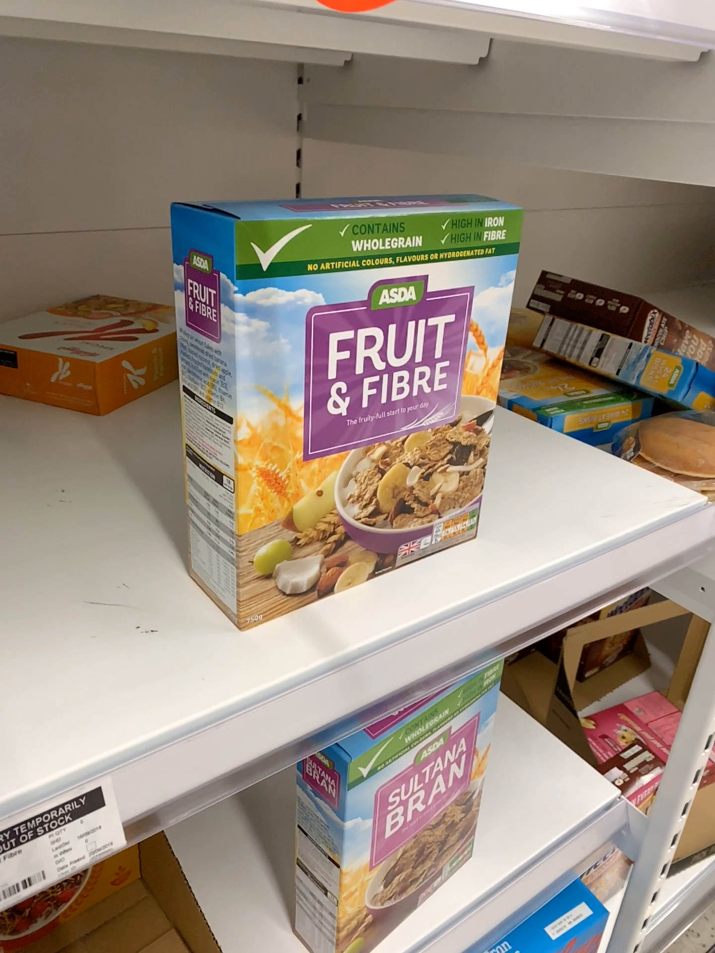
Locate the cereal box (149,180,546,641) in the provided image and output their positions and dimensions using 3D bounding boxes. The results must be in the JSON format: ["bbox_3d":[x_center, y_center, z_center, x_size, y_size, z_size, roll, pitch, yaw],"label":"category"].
[{"bbox_3d":[0.001,-0.058,0.499,0.241,0.258,0.080,-17,31,-34],"label":"cereal box"}]
